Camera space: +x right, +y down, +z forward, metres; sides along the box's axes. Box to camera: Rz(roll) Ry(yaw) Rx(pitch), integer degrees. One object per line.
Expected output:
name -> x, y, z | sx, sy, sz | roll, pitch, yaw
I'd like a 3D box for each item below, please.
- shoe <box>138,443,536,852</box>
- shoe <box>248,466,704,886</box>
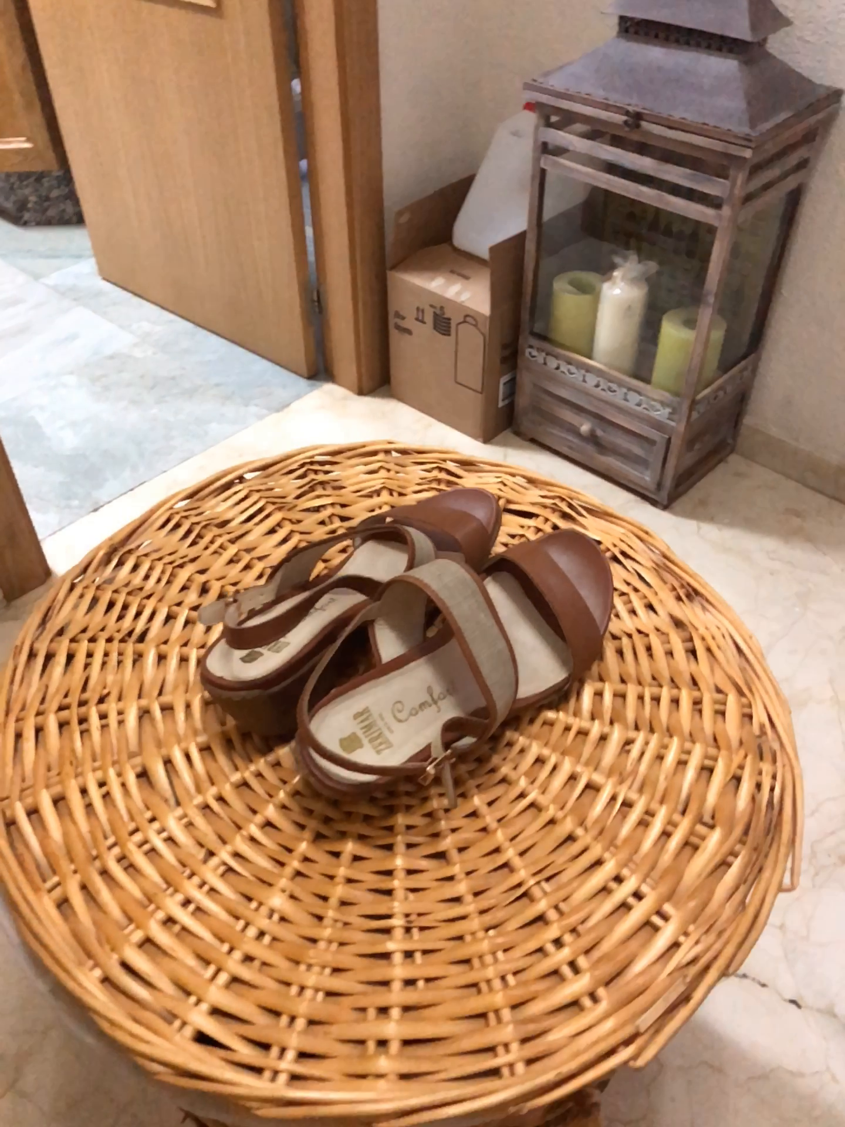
shoe -> -0.039, 0.039, 0.601 | 0.090, 0.090, 0.271 | 26, 49, 26
shoe -> 0.038, 0.054, 0.554 | 0.270, 0.070, 0.100 | -33, 67, -30
